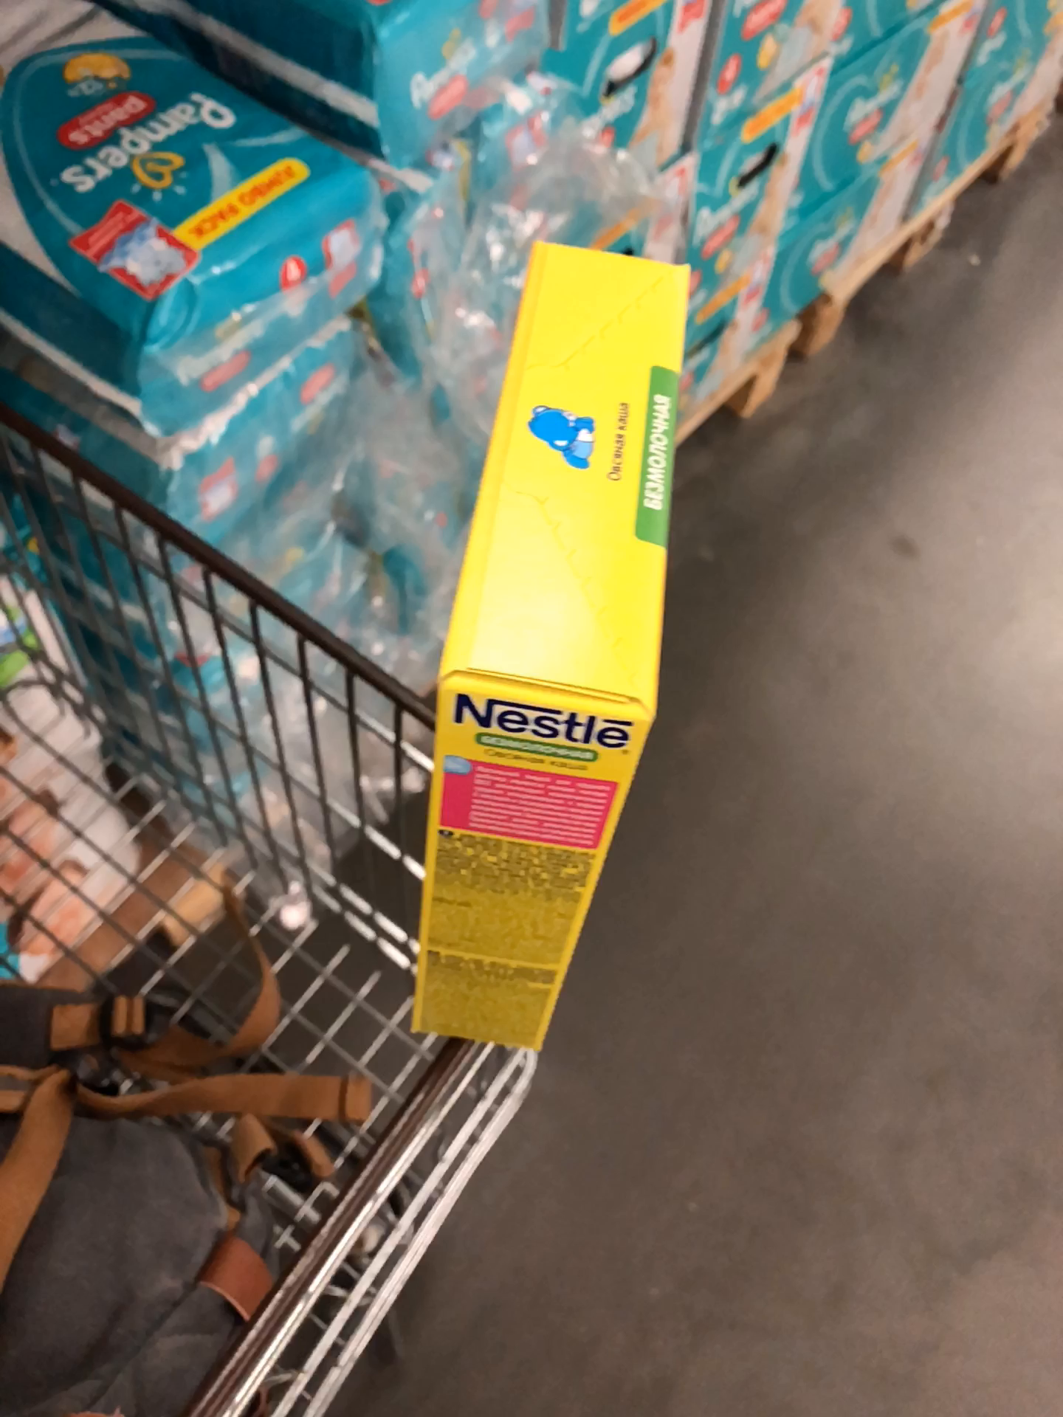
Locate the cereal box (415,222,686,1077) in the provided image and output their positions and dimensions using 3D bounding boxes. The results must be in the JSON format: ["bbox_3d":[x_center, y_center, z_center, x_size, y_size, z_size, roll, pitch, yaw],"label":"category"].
[{"bbox_3d":[0.001,-0.003,0.340,0.040,0.199,0.151,9,55,-1],"label":"cereal box"}]
